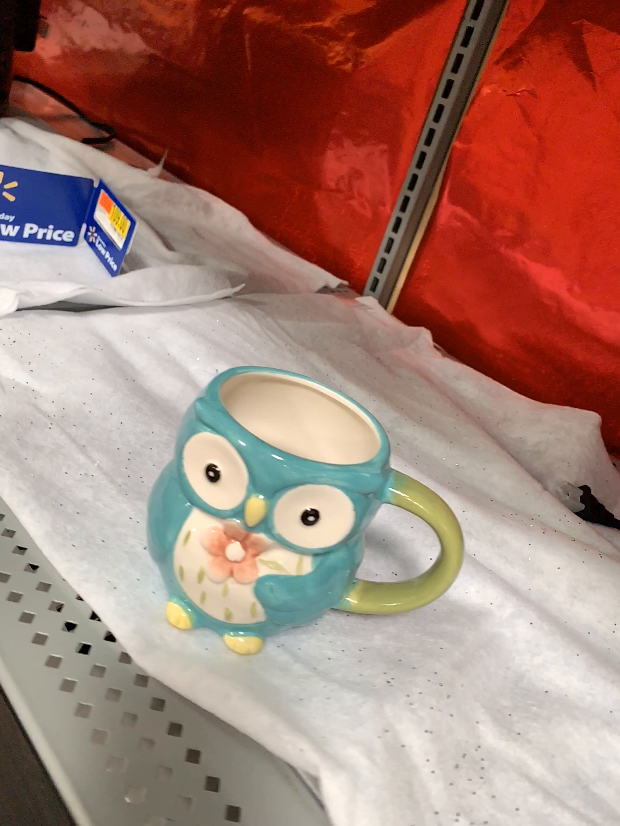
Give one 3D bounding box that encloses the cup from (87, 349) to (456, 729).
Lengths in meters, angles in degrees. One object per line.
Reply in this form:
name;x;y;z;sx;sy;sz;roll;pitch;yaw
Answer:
cup;-0.011;0.049;0.298;0.127;0.087;0.108;22;29;4
